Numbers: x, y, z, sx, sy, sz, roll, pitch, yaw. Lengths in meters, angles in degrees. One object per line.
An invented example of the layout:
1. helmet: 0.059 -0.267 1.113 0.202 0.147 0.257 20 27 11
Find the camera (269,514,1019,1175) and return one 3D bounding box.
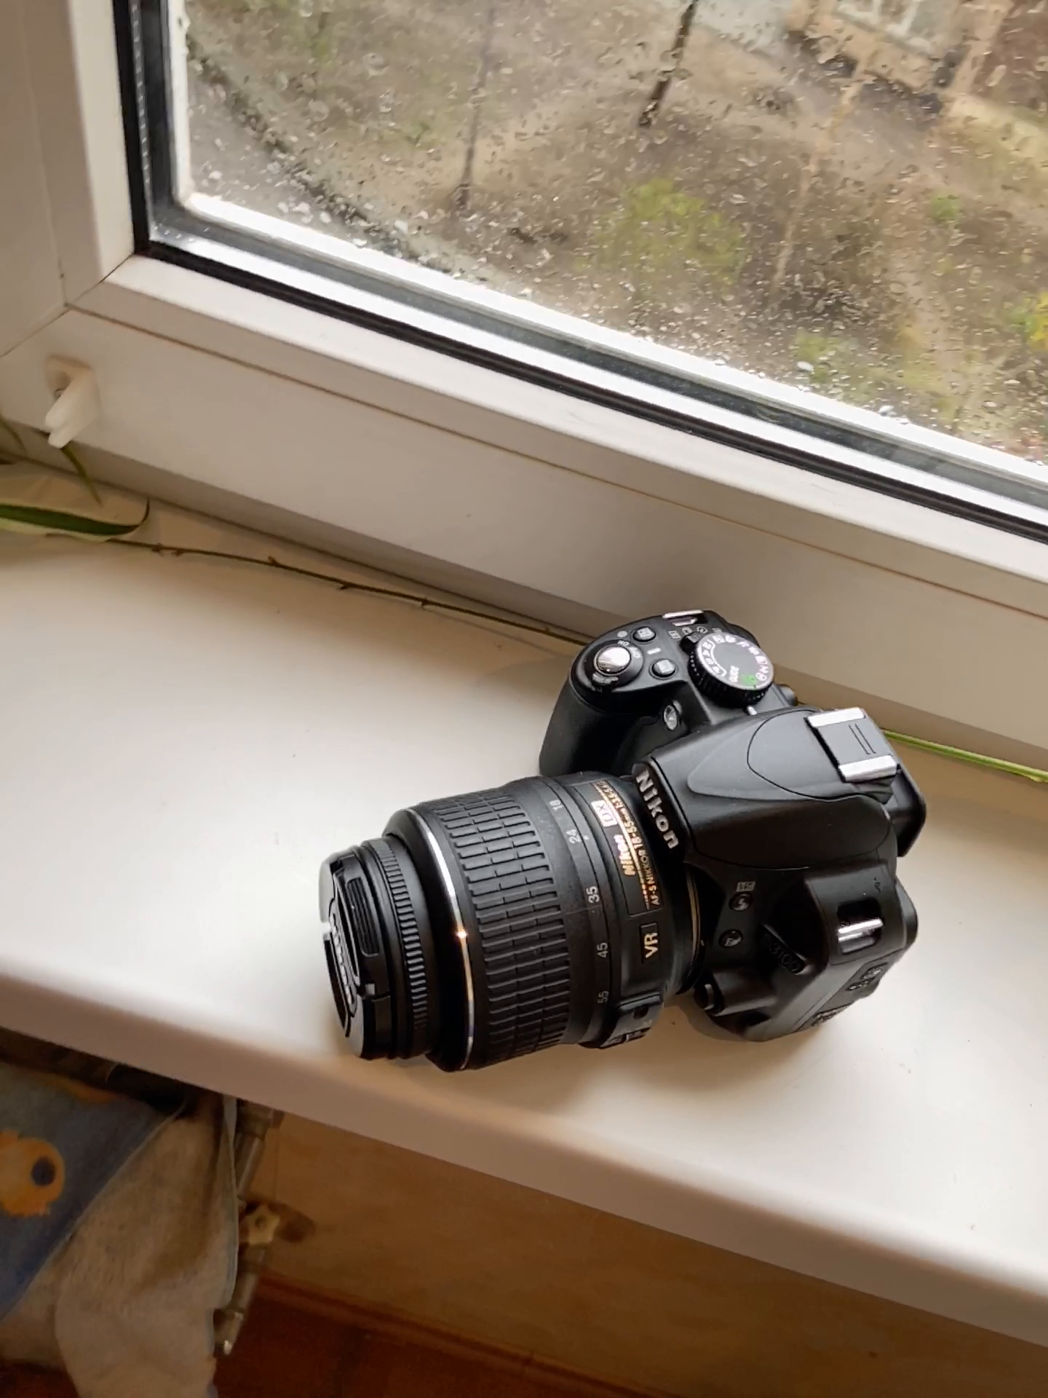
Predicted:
1. camera: 0.020 0.033 0.304 0.155 0.091 0.125 -11 57 -22
